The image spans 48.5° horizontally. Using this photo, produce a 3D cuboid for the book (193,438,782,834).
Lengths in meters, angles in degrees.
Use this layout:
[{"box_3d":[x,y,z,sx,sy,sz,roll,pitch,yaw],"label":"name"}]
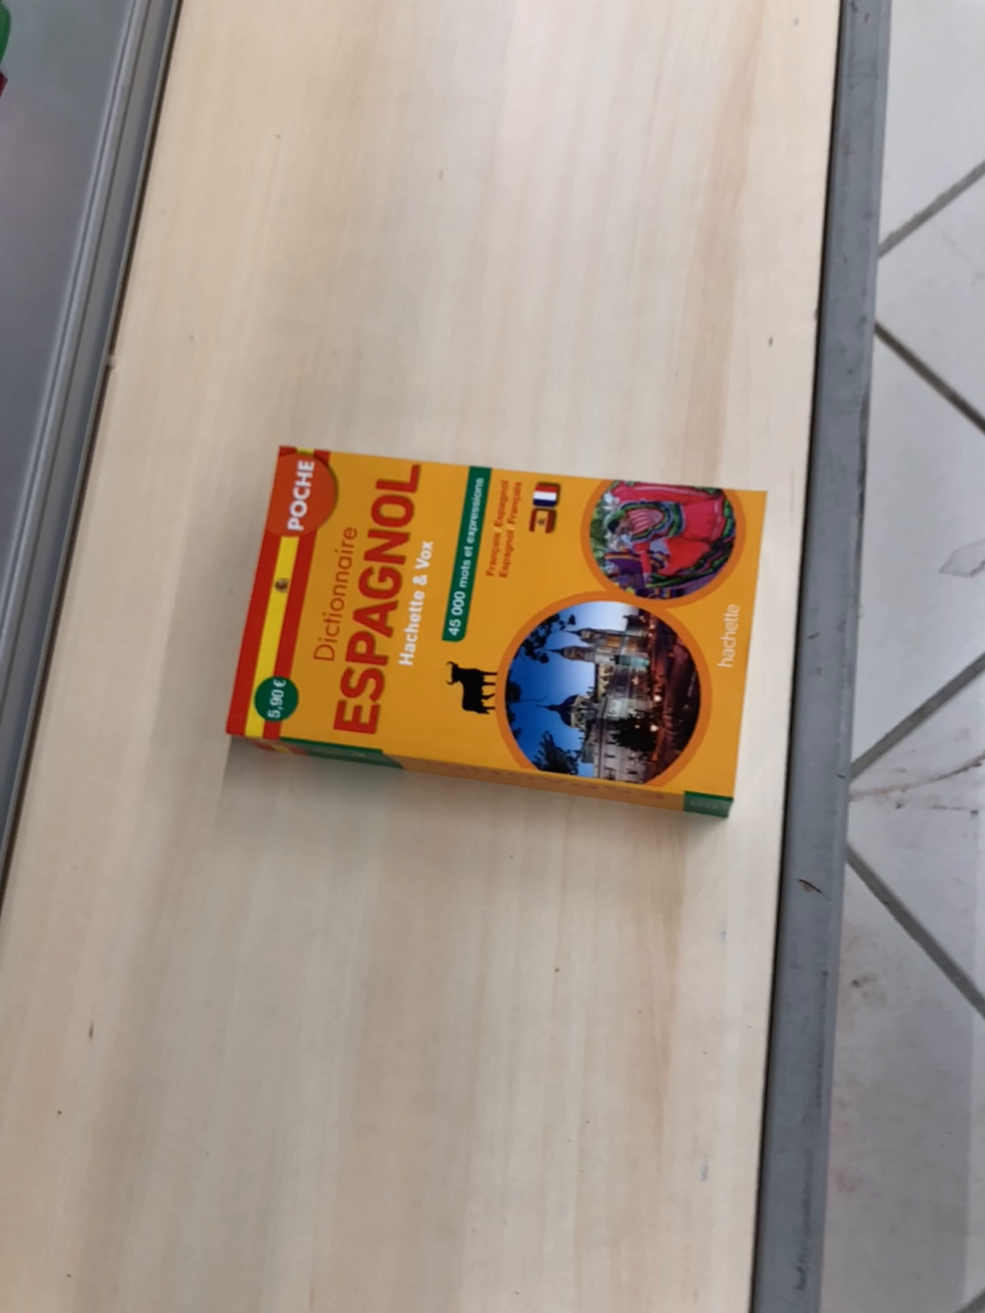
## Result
[{"box_3d":[0.000,-0.009,0.397,0.190,0.040,0.117,7,78,11],"label":"book"}]
